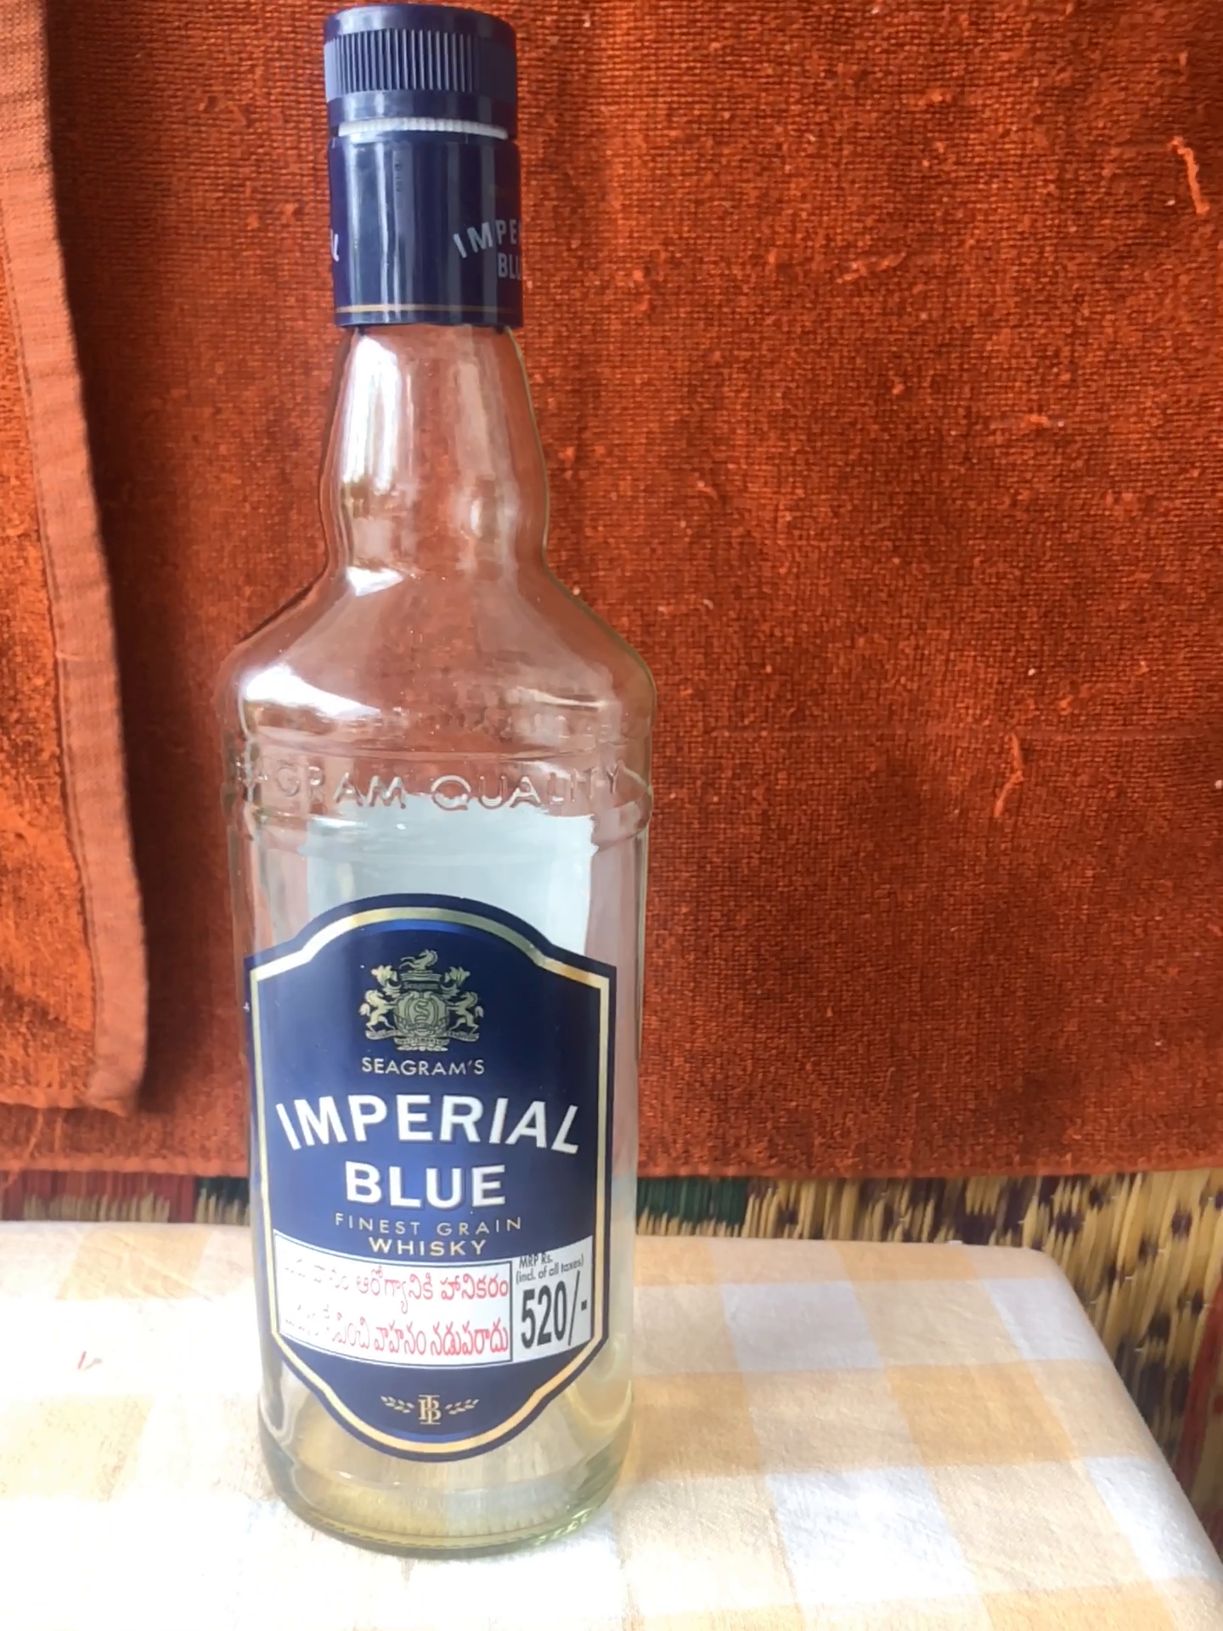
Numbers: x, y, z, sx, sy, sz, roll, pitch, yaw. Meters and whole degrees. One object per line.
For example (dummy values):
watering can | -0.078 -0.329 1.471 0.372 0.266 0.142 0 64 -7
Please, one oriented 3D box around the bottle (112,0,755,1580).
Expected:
bottle | -0.030 -0.005 0.268 0.090 0.309 0.070 4 17 2
